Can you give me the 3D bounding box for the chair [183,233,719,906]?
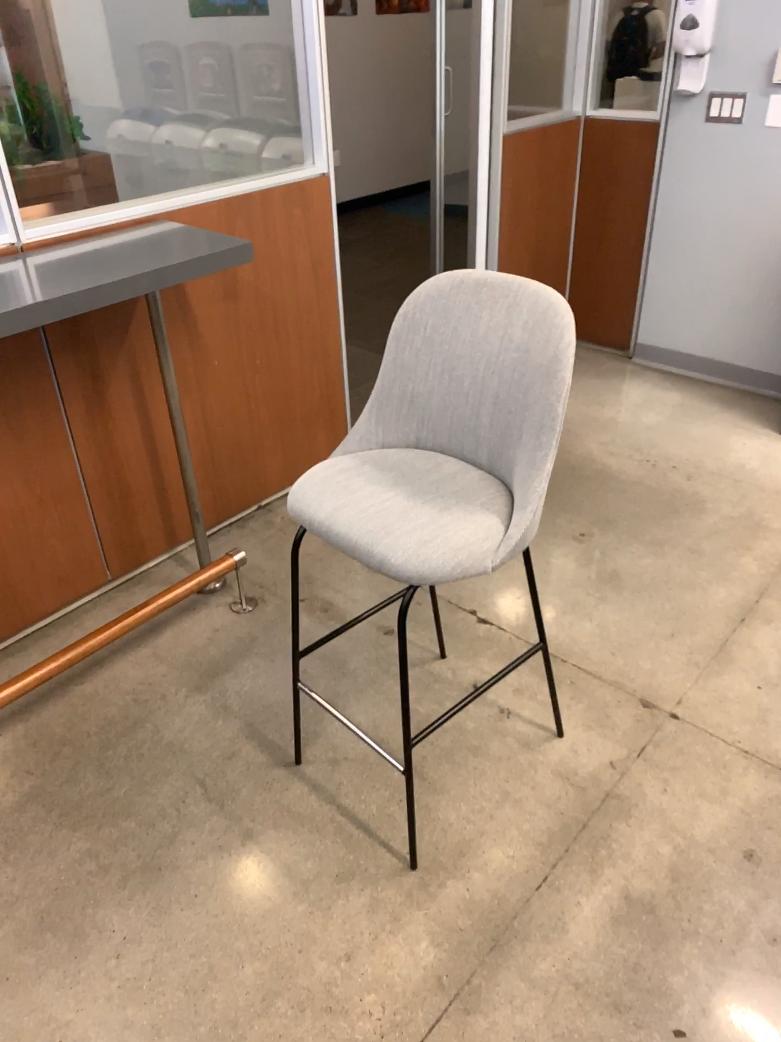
[{"bbox_3d":[0.143,0.056,1.761,0.812,1.093,0.593,-29,41,-36],"label":"chair"}]
